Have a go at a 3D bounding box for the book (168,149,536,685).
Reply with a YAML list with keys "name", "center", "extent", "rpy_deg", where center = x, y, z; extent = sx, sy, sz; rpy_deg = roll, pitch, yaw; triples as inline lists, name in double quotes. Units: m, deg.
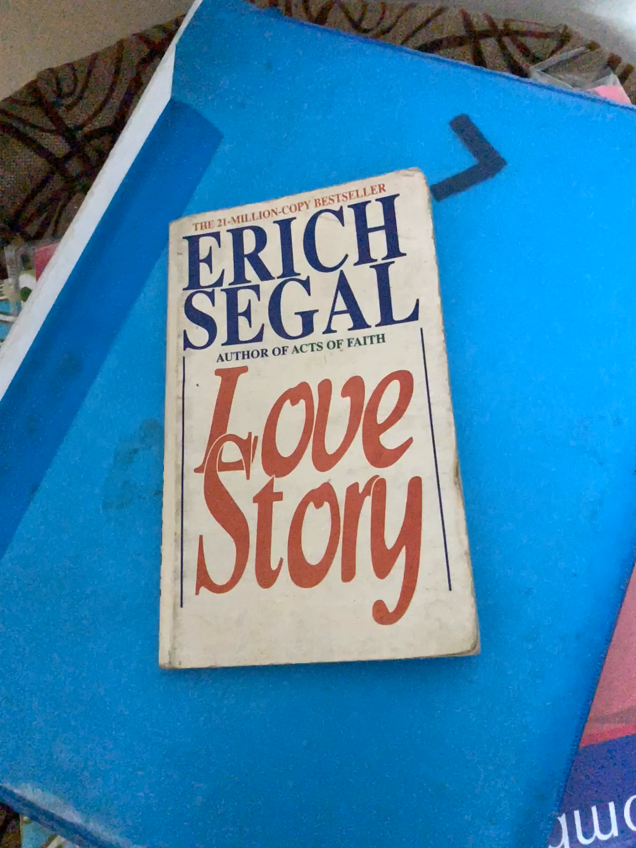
- name: "book"
  center: [0.005, -0.008, 0.232]
  extent: [0.110, 0.020, 0.180]
  rpy_deg: [-5, 73, 7]
